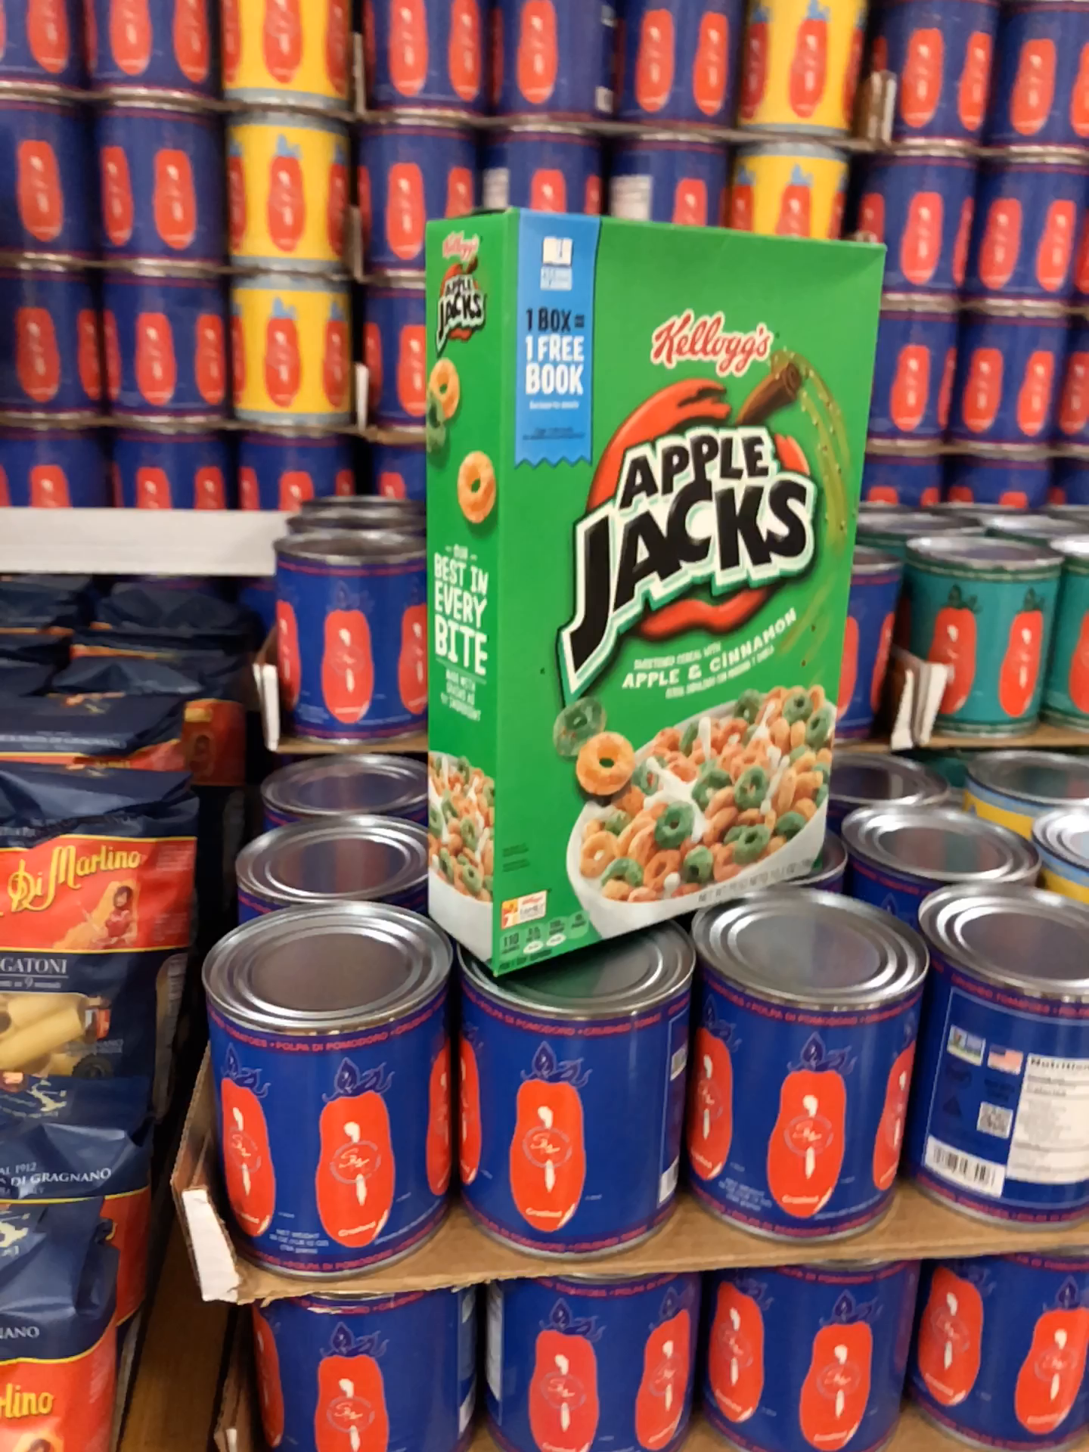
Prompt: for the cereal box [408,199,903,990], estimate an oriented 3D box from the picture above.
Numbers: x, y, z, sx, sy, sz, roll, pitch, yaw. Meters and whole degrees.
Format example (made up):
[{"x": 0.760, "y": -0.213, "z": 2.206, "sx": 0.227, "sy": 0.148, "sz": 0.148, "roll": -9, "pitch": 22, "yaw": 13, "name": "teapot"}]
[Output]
[{"x": 0.045, "y": -0.057, "z": 0.513, "sx": 0.201, "sy": 0.288, "sz": 0.060, "roll": -10, "pitch": 21, "yaw": -34, "name": "cereal box"}]
